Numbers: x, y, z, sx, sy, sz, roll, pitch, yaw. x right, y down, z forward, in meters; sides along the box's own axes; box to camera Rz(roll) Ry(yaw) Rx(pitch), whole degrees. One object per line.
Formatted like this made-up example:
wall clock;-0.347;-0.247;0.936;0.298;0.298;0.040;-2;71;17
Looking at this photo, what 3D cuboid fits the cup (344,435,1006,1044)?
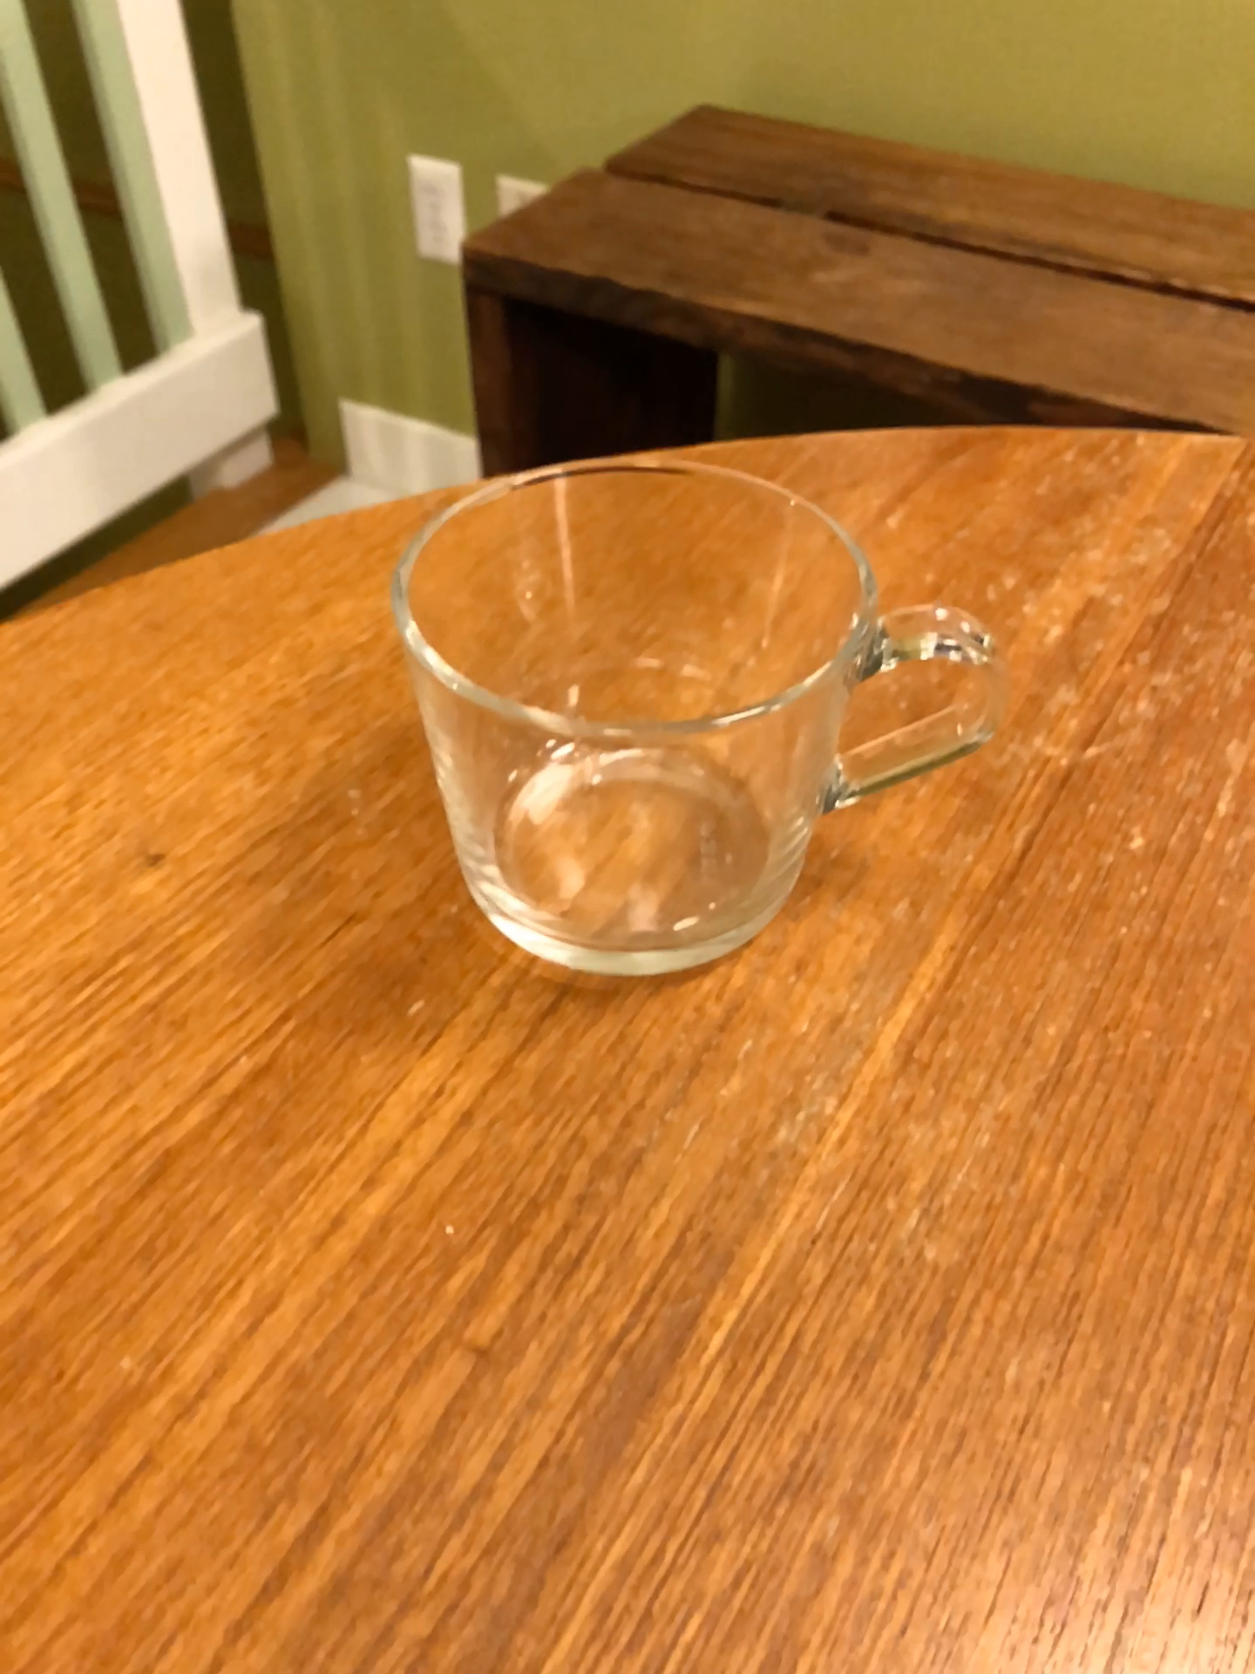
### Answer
cup;0.012;-0.024;0.320;0.120;0.089;0.101;3;44;3
